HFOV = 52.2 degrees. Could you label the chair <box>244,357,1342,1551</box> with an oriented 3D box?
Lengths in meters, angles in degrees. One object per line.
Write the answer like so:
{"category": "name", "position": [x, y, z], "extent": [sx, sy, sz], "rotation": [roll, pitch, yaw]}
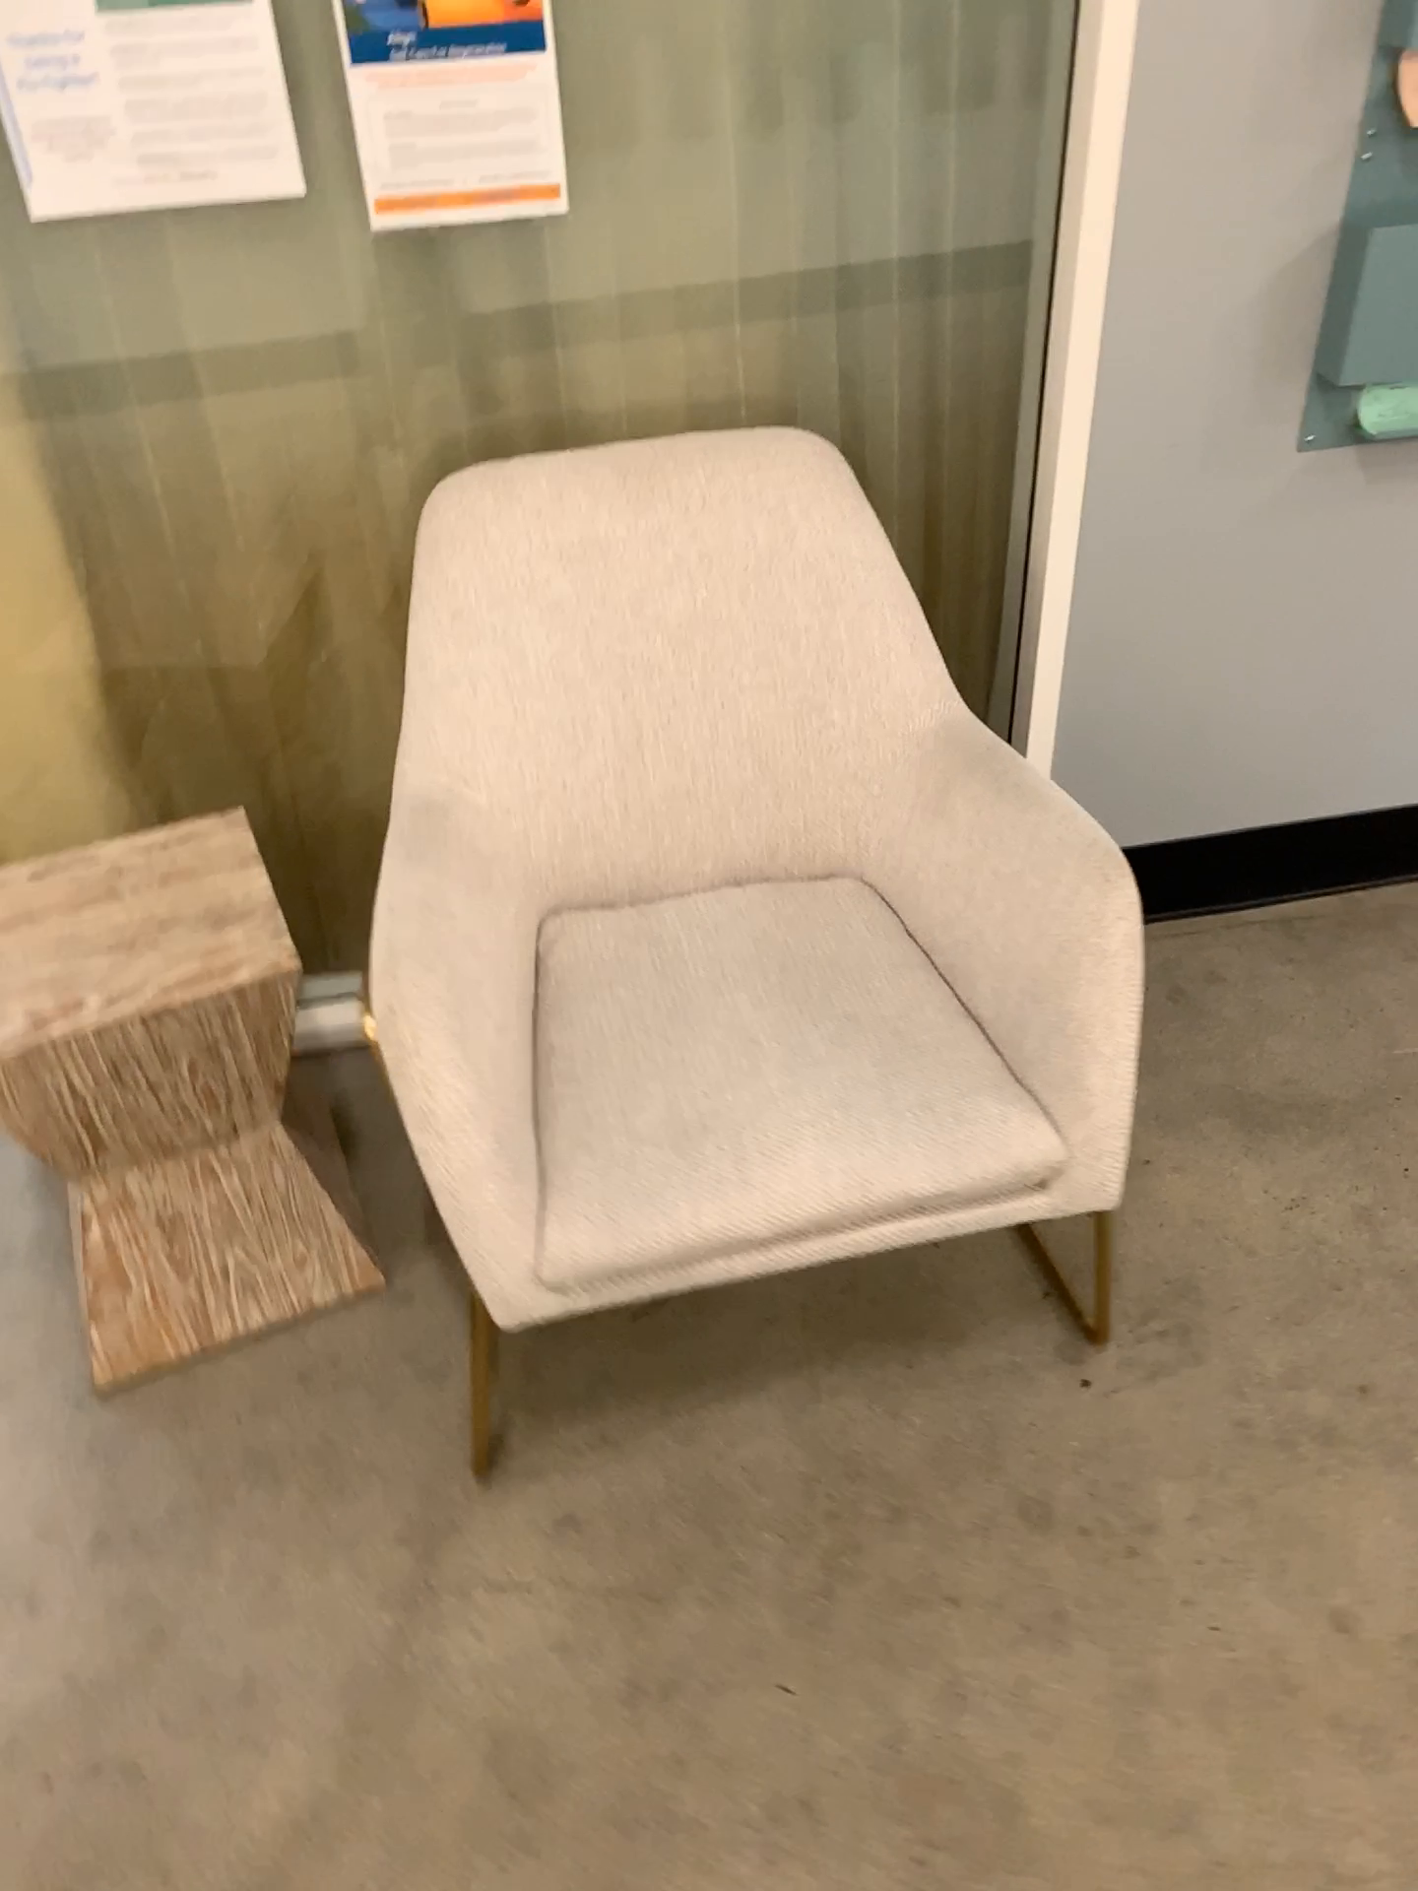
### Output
{"category": "chair", "position": [0.007, -0.033, 1.551], "extent": [0.780, 0.865, 0.775], "rotation": [-10, 38, -9]}
